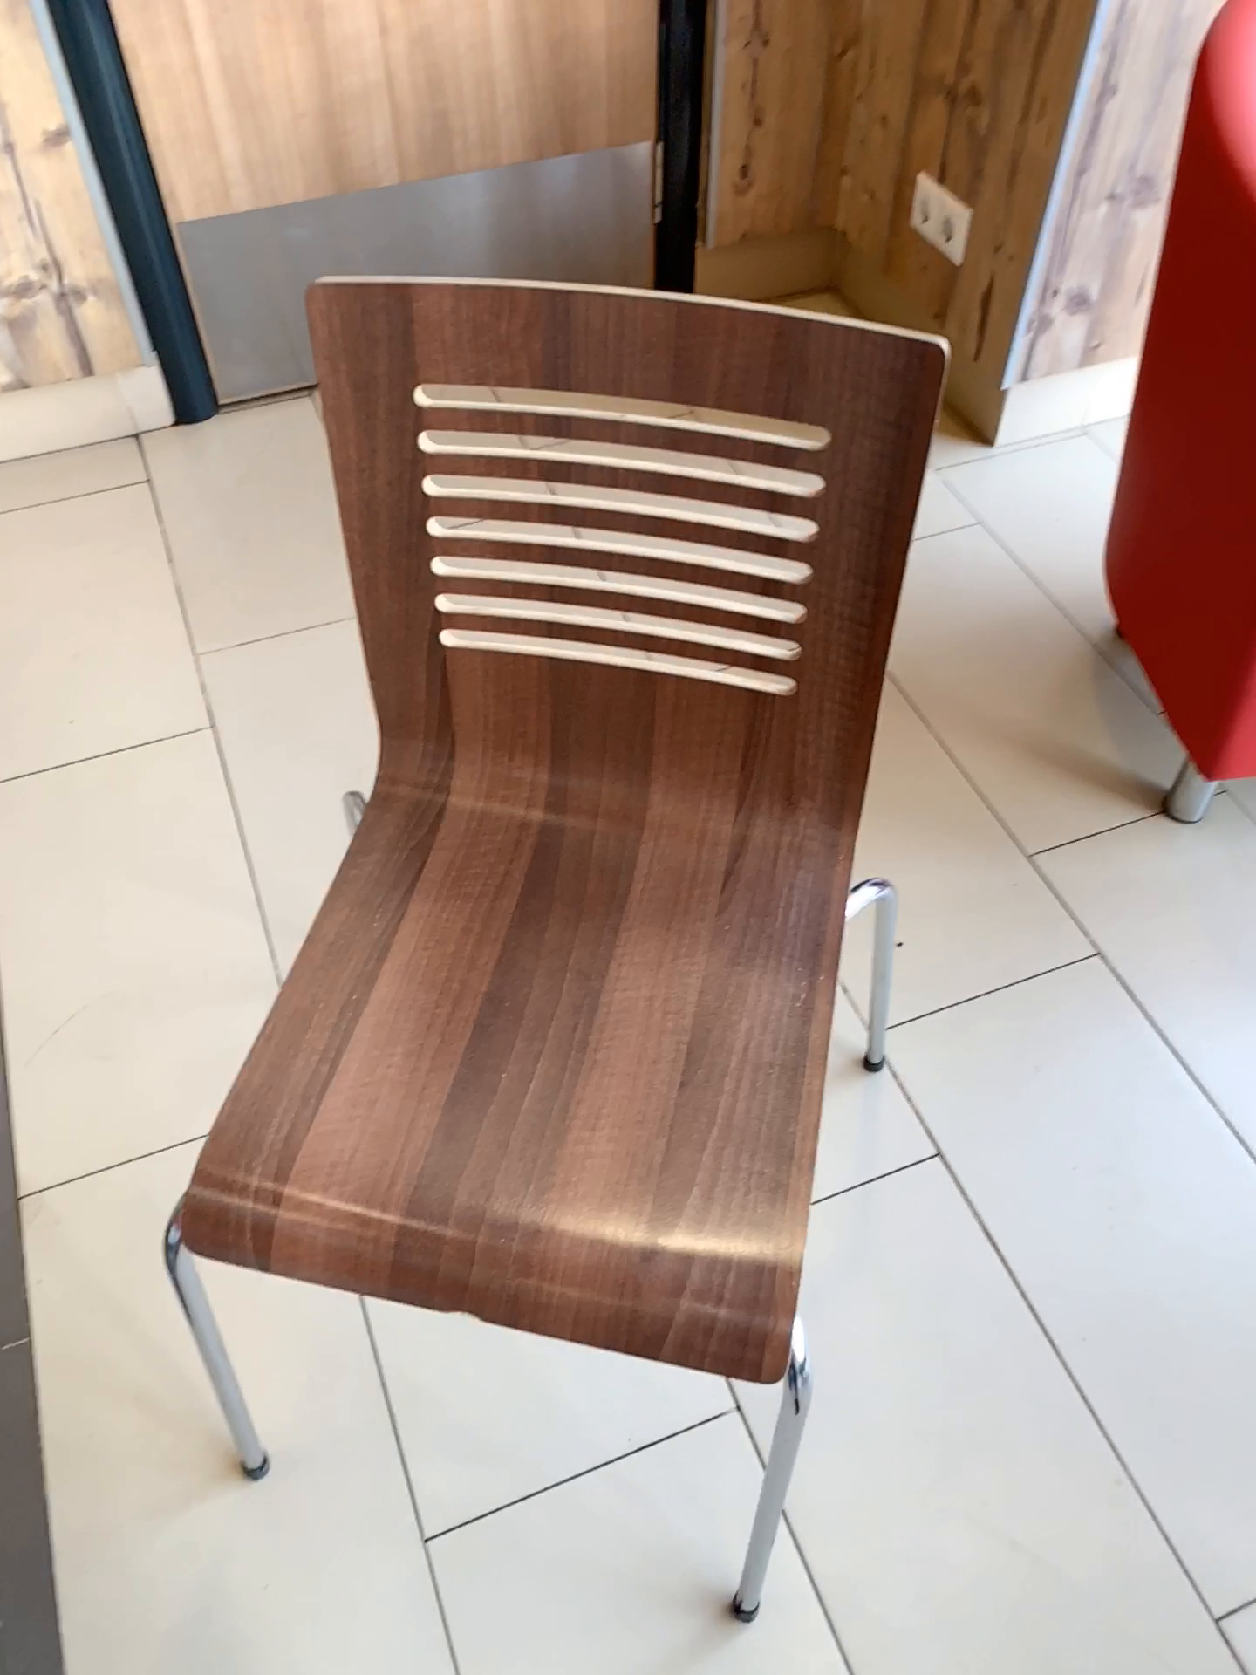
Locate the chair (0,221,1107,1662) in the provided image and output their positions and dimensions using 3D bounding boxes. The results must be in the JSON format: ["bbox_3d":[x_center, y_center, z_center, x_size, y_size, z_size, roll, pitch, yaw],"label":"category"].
[{"bbox_3d":[-0.051,0.119,0.924,0.544,0.794,0.594,11,51,9],"label":"chair"}]
